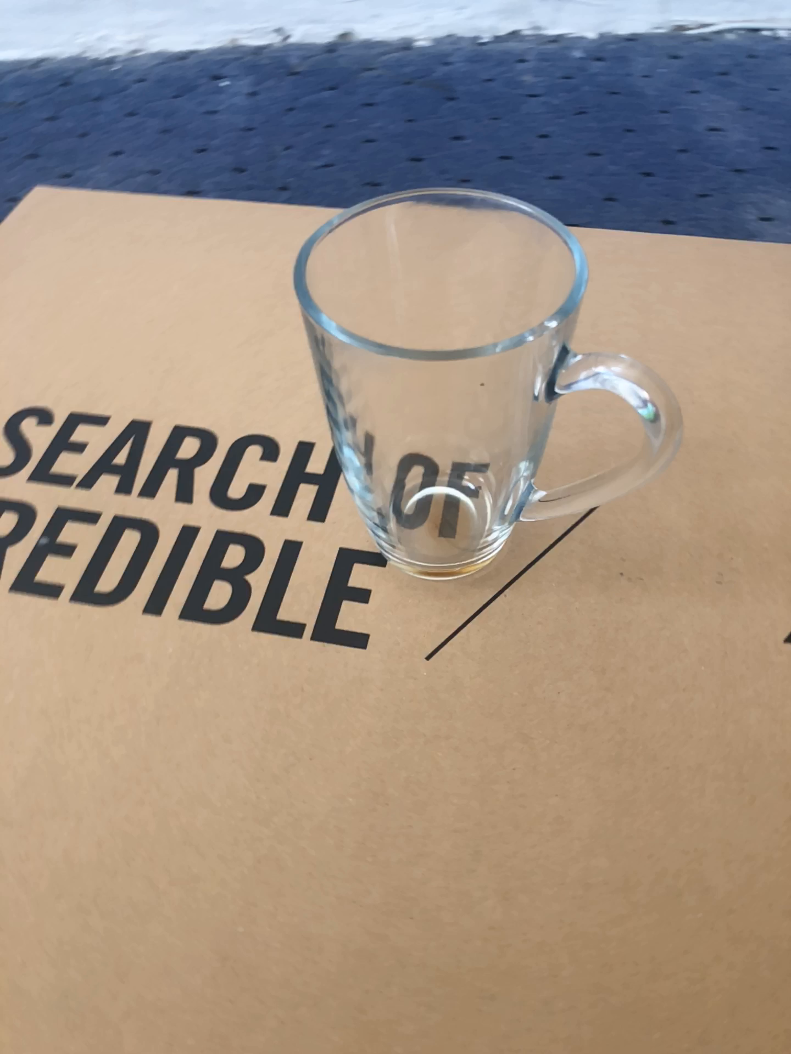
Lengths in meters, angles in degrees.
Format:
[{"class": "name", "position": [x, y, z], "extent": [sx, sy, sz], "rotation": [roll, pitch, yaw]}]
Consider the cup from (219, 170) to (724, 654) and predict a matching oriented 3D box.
[{"class": "cup", "position": [0.024, -0.036, 0.260], "extent": [0.110, 0.090, 0.080], "rotation": [16, 51, 16]}]
